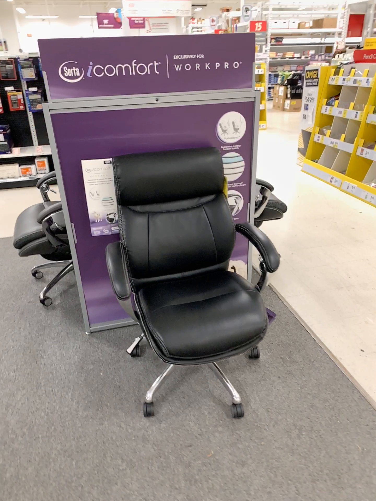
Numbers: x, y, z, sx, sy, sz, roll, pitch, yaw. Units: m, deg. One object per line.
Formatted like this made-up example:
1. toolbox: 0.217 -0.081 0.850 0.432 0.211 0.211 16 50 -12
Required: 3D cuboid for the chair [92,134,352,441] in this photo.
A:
1. chair: 0.057 0.085 1.618 0.770 0.955 0.724 -7 27 -12
